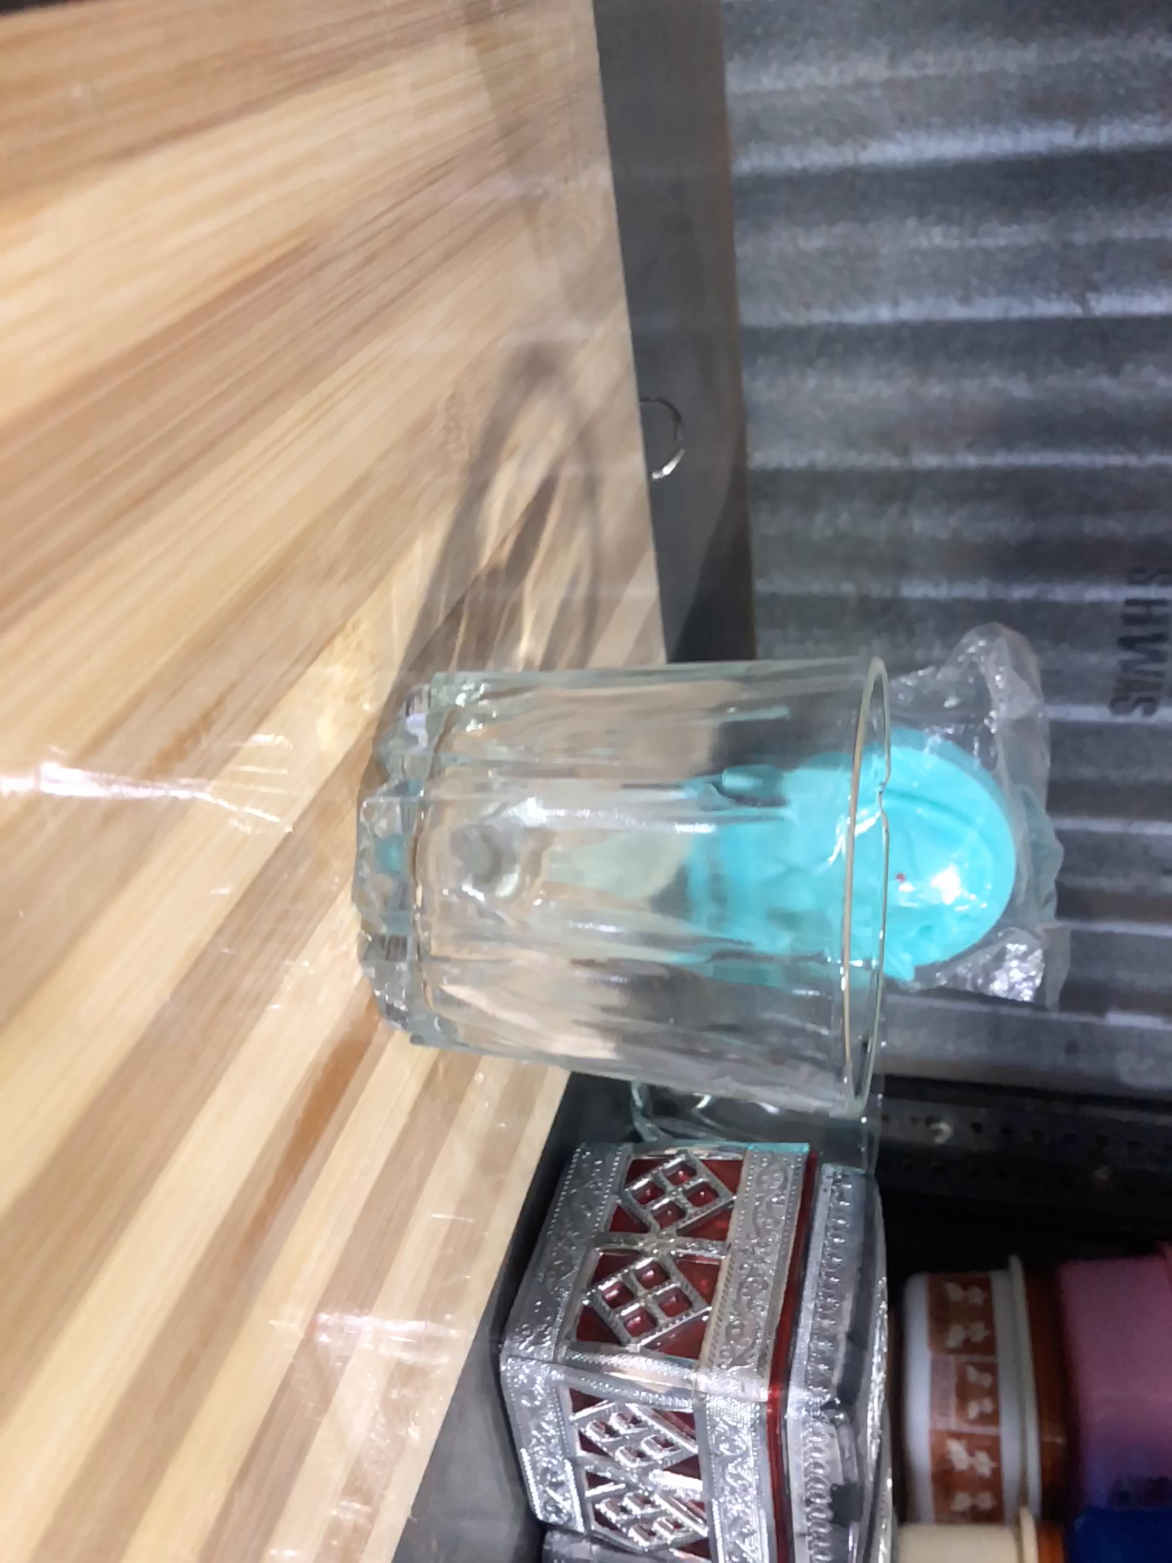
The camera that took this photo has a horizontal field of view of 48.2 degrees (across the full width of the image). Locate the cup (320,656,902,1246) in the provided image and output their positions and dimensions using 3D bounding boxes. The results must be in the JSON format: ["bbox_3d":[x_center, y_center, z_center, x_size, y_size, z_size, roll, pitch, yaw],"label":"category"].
[{"bbox_3d":[0.012,0.026,0.229,0.080,0.080,0.080,2,90,-75],"label":"cup"}]
